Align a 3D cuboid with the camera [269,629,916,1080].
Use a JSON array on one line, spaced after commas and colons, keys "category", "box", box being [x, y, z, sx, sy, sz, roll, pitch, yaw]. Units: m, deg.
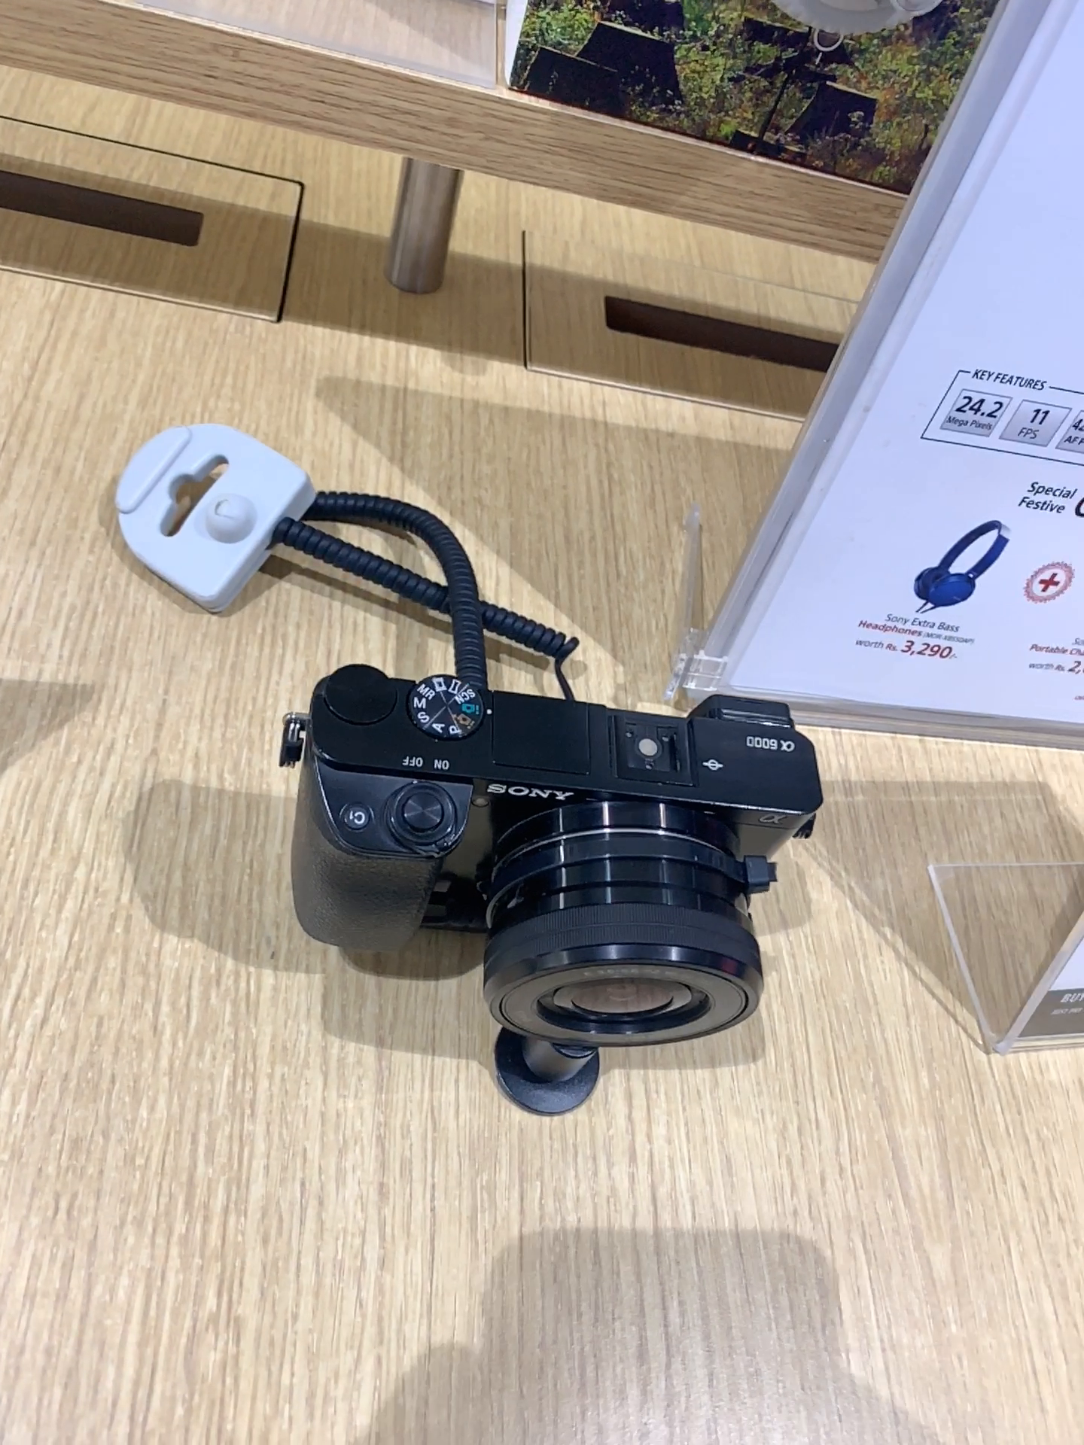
[{"category": "camera", "box": [0.004, 0.039, 0.278, 0.130, 0.090, 0.070, 6, 56, -13]}]
